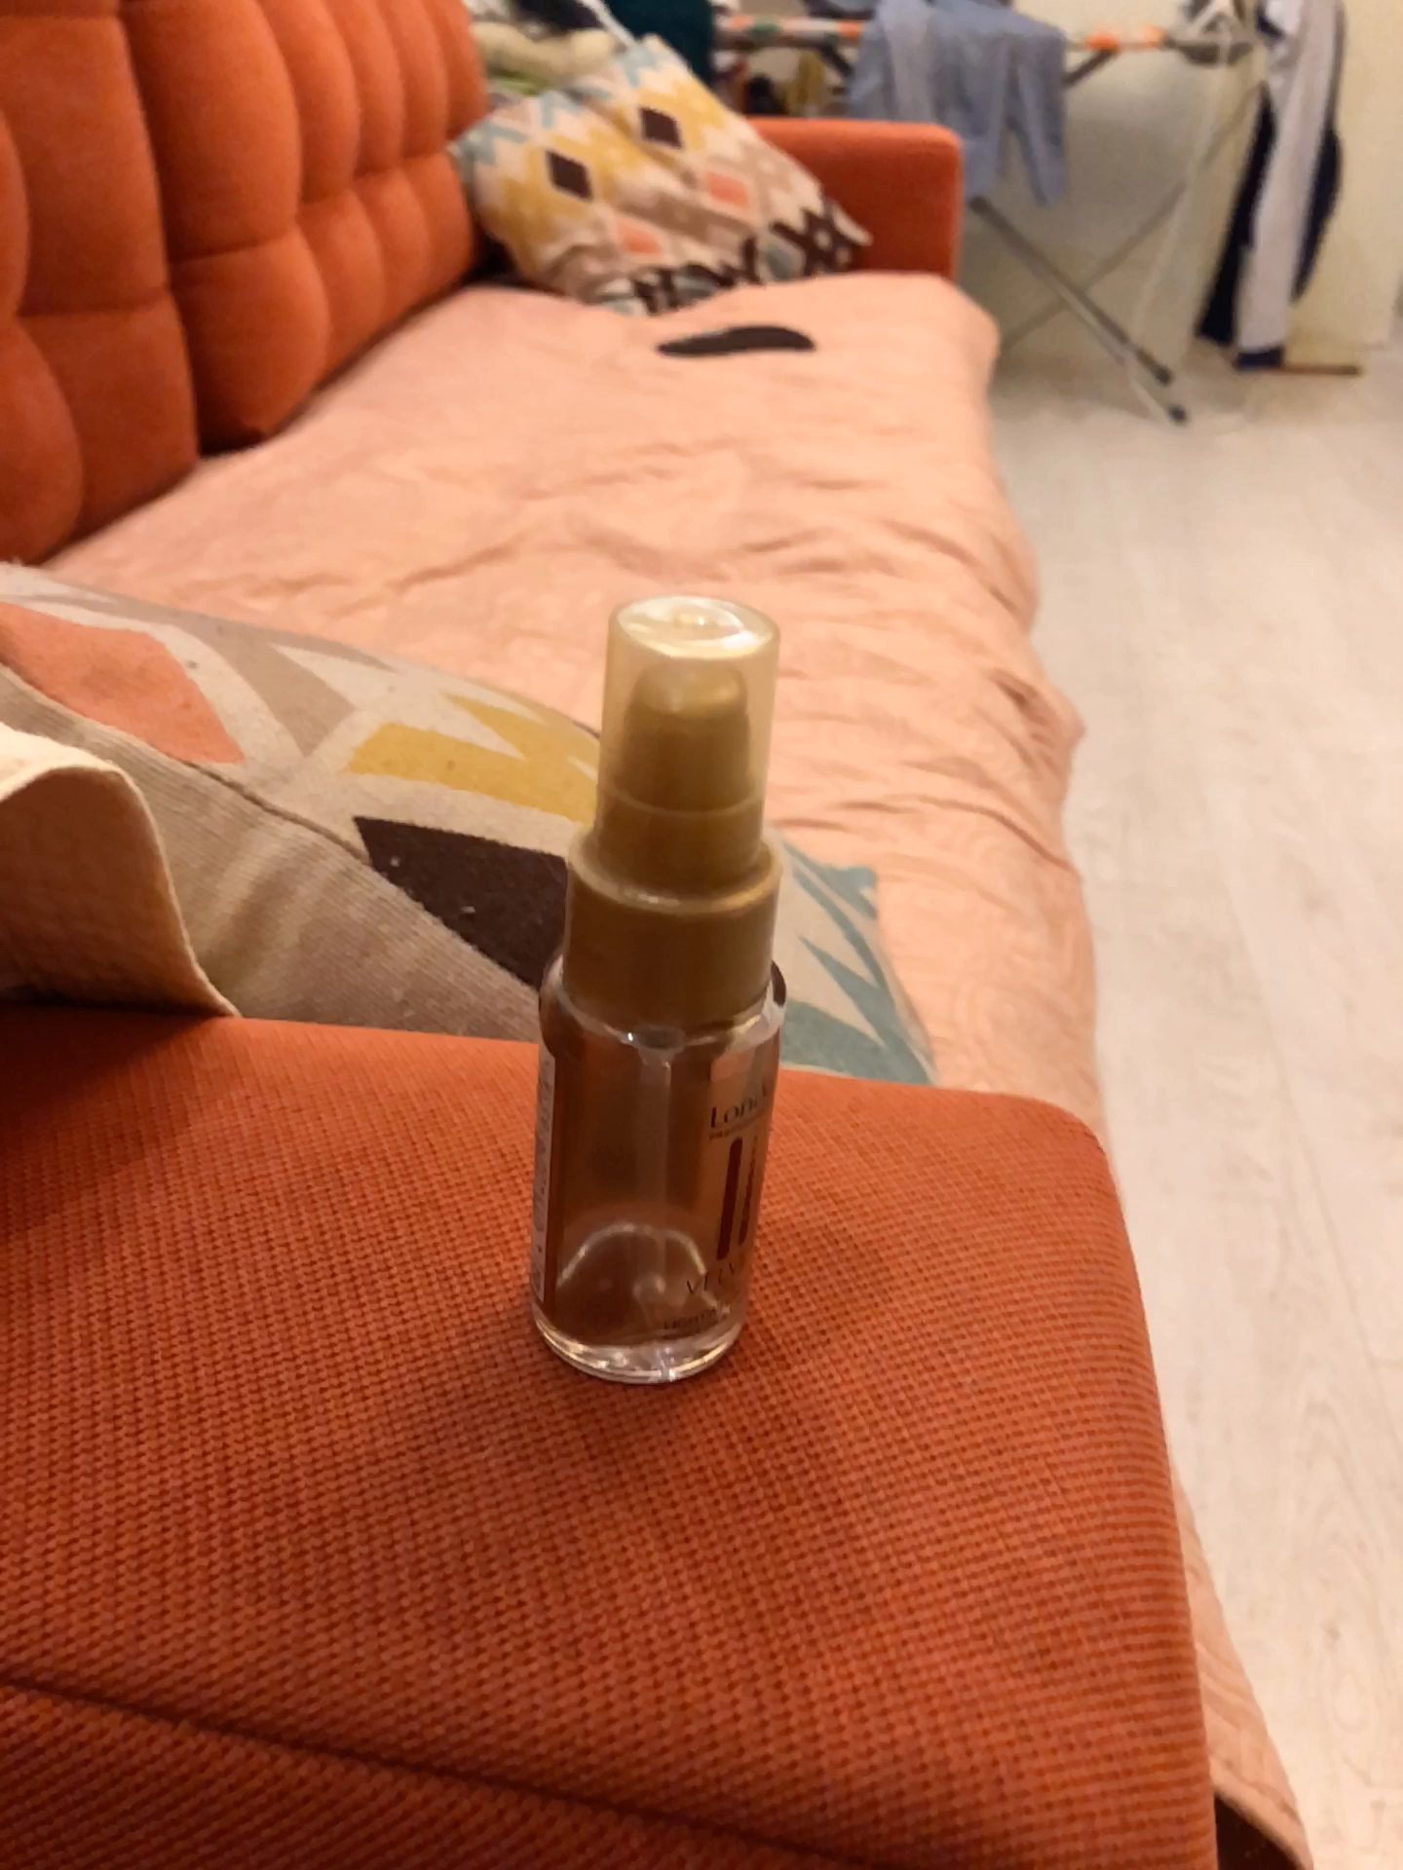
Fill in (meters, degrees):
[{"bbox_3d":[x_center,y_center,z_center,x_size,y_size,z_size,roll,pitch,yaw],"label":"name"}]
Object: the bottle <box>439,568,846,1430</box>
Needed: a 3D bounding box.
[{"bbox_3d":[-0.007,0.010,0.209,0.033,0.106,0.034,0,30,0],"label":"bottle"}]
